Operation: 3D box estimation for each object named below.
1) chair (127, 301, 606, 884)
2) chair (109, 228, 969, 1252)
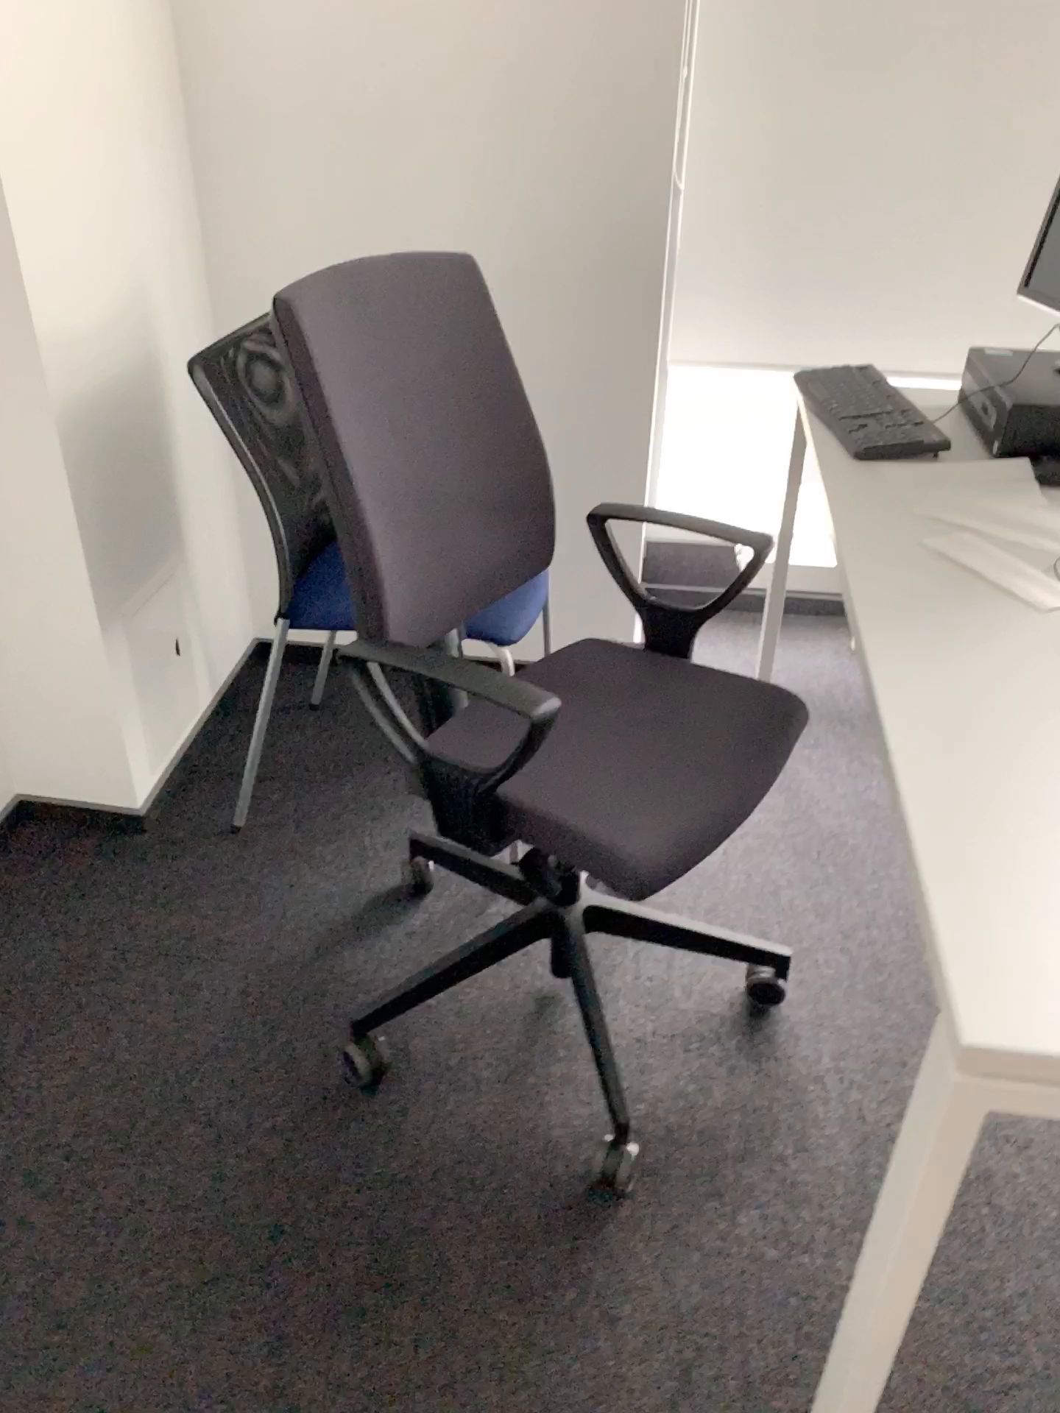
[{"bbox_3d":[-0.230,-0.243,2.018,0.610,0.805,0.674,7,32,9],"label":"chair"},{"bbox_3d":[0.036,-0.021,1.455,0.681,1.004,0.693,20,36,27],"label":"chair"}]
